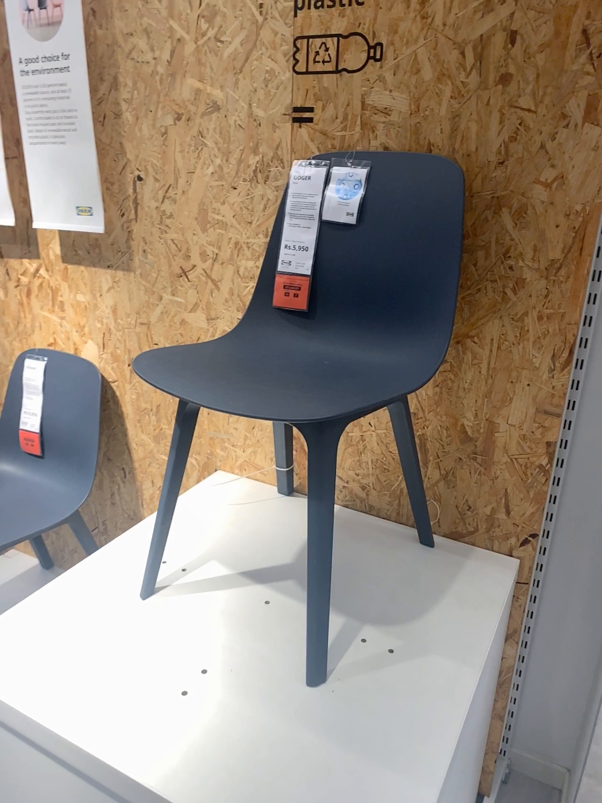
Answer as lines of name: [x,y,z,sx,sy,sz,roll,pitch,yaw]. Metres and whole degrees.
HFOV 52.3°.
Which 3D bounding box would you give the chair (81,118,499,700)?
chair: [0.002,-0.045,1.064,0.431,0.767,0.501,14,23,30]
